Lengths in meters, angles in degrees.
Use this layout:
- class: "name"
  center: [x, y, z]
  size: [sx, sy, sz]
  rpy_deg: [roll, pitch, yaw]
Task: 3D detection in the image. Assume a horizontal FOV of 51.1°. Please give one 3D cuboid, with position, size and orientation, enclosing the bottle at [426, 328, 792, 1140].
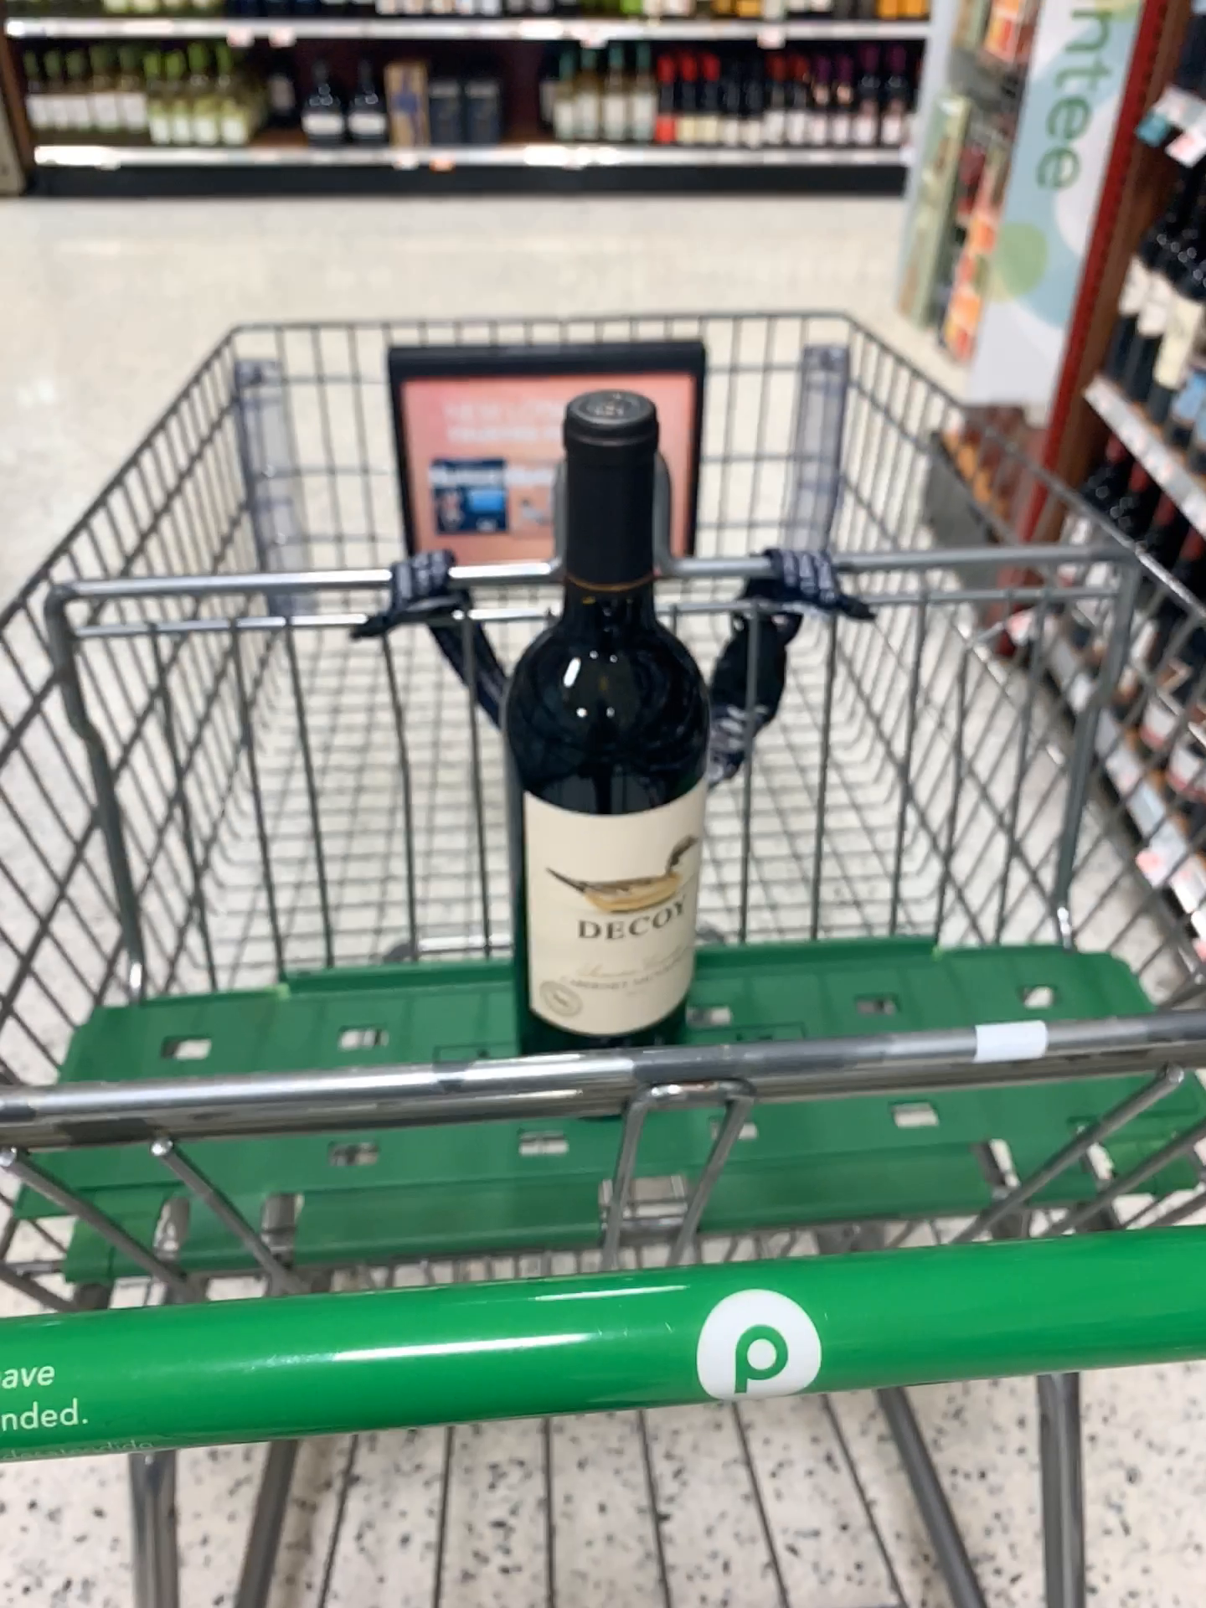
- class: "bottle"
  center: [-0.002, -0.011, 0.479]
  size: [0.090, 0.297, 0.091]
  rpy_deg: [0, 38, 0]
